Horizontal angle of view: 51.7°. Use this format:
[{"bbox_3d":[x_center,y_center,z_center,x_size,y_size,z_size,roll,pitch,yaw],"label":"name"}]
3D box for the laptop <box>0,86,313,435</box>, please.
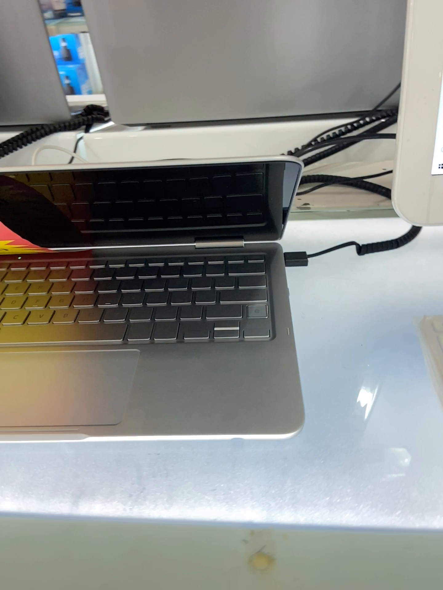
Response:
[{"bbox_3d":[-0.109,-0.035,0.303,0.306,0.132,0.202,-2,36,4],"label":"laptop"}]
